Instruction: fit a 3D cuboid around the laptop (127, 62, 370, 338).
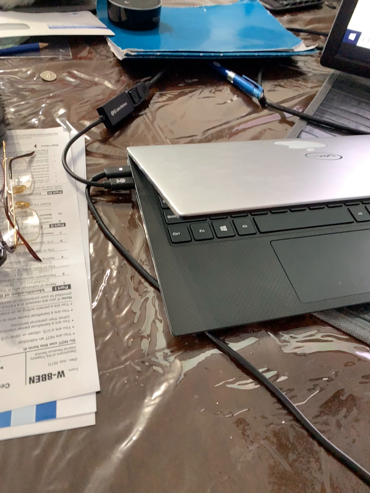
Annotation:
[{"bbox_3d":[0.114,-0.057,0.300,0.290,0.081,0.183,-7,52,-16],"label":"laptop"}]
